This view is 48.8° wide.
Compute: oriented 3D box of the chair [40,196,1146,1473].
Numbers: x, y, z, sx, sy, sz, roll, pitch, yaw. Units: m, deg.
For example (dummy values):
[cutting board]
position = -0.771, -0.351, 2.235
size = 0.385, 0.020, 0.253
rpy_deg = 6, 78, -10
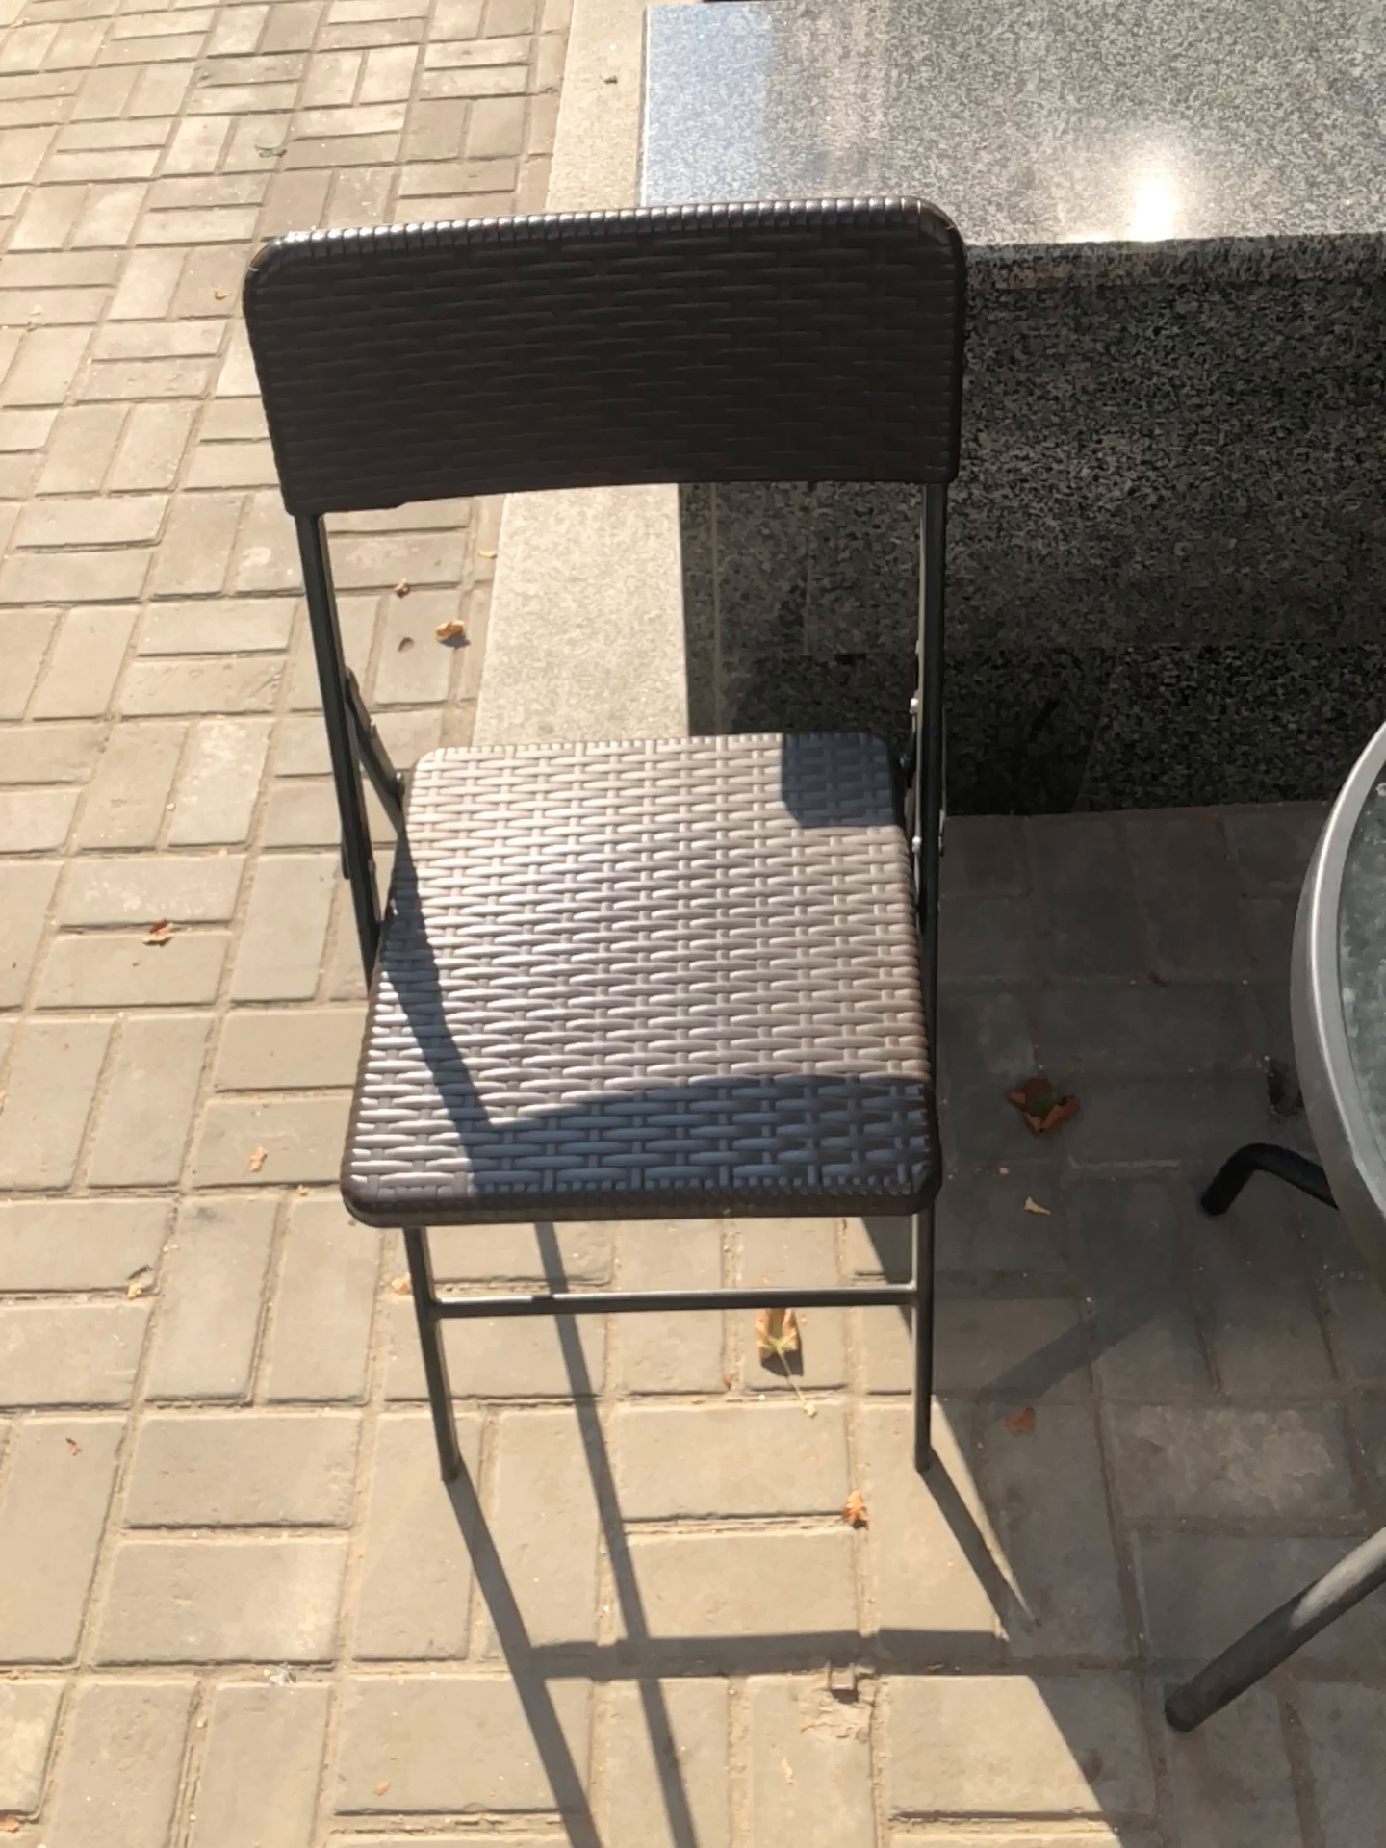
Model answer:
[chair]
position = -0.032, 0.012, 1.049
size = 0.430, 0.778, 0.481
rpy_deg = -1, 54, 1
